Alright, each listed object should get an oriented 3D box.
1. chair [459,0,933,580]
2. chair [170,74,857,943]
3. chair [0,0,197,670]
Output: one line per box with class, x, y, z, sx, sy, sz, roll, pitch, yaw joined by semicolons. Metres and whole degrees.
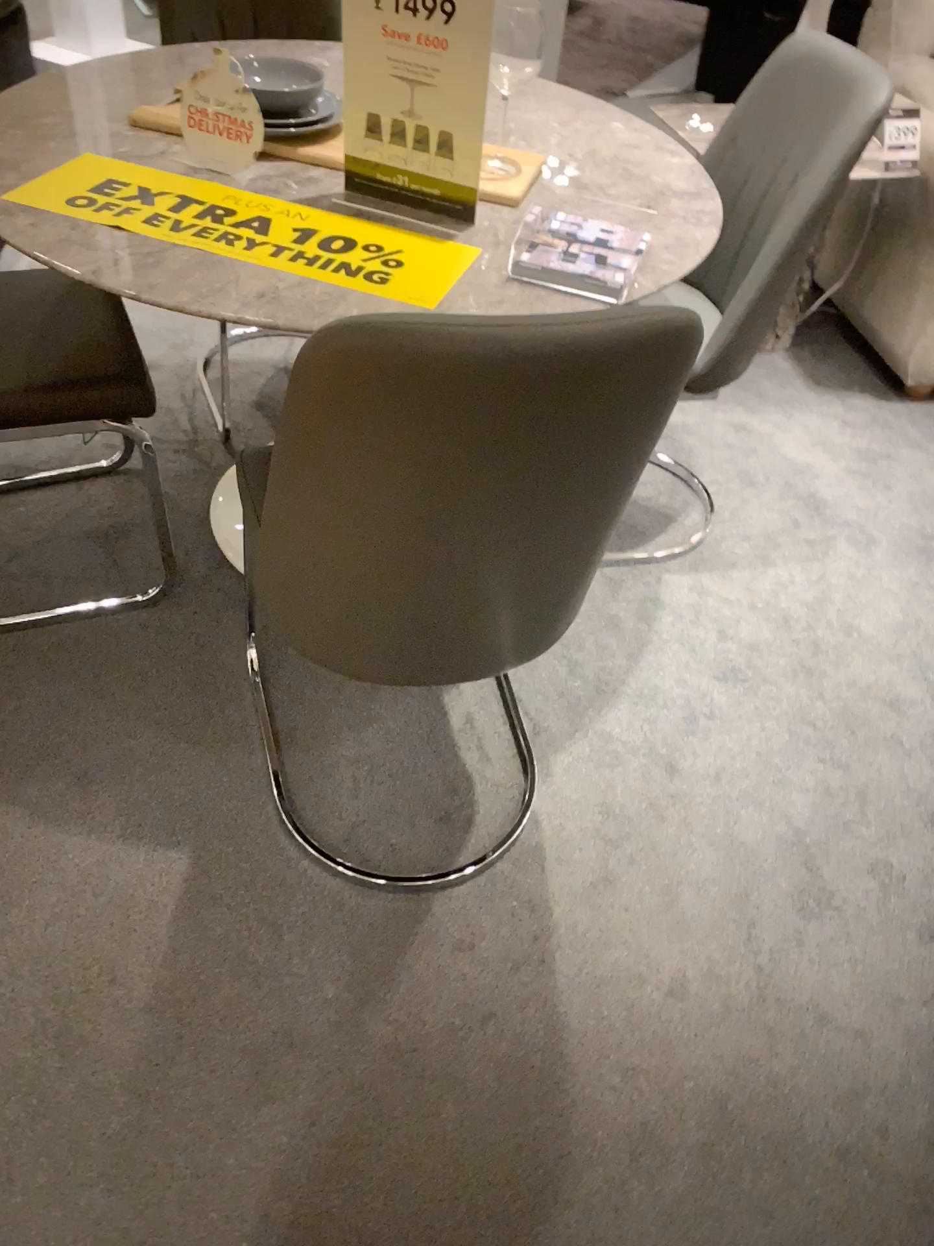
chair;0.357;-0.607;1.811;0.578;0.883;0.525;-4;45;-12
chair;-0.051;-0.131;1.258;0.550;0.883;0.634;-5;45;-13
chair;-0.818;-0.471;1.522;0.579;0.883;0.524;-12;47;-19
